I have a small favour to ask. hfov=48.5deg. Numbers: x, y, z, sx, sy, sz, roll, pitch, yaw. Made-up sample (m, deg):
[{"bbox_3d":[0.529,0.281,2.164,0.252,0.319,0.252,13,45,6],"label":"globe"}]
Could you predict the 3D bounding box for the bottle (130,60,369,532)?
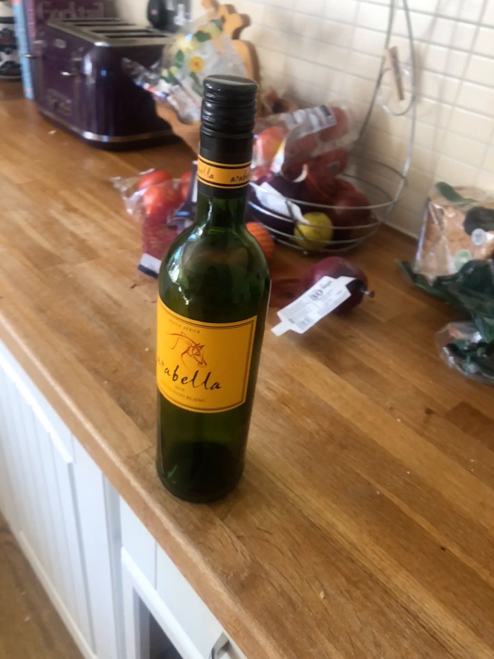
[{"bbox_3d":[-0.011,-0.008,0.373,0.090,0.298,0.091,5,35,-3],"label":"bottle"}]
